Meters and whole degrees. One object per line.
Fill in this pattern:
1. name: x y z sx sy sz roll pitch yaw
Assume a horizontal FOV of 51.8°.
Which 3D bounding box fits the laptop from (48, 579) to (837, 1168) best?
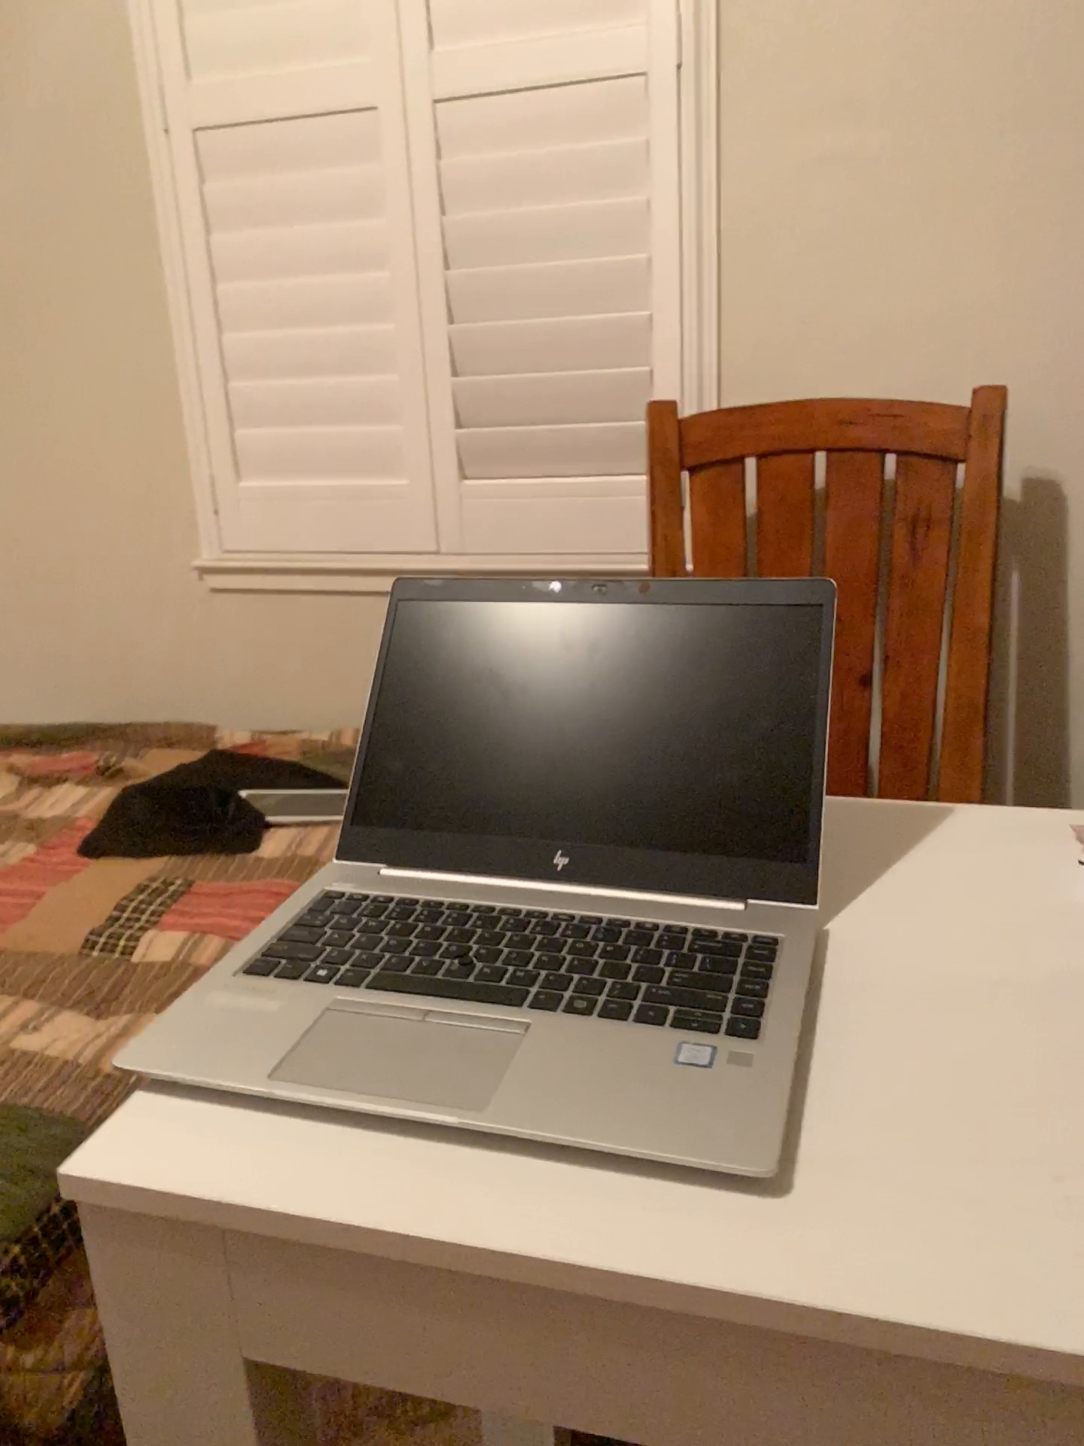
1. laptop: -0.008 0.035 0.627 0.310 0.159 0.366 3 19 17
